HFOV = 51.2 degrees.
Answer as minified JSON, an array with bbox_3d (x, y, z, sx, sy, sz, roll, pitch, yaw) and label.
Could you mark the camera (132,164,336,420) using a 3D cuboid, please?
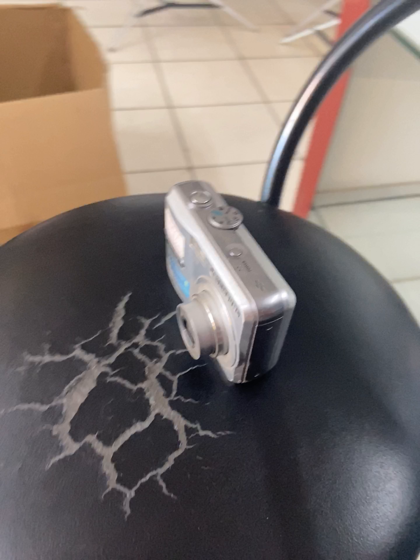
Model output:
[{"bbox_3d":[0.004,0.001,0.212,0.050,0.060,0.100,-16,52,-18],"label":"camera"}]
